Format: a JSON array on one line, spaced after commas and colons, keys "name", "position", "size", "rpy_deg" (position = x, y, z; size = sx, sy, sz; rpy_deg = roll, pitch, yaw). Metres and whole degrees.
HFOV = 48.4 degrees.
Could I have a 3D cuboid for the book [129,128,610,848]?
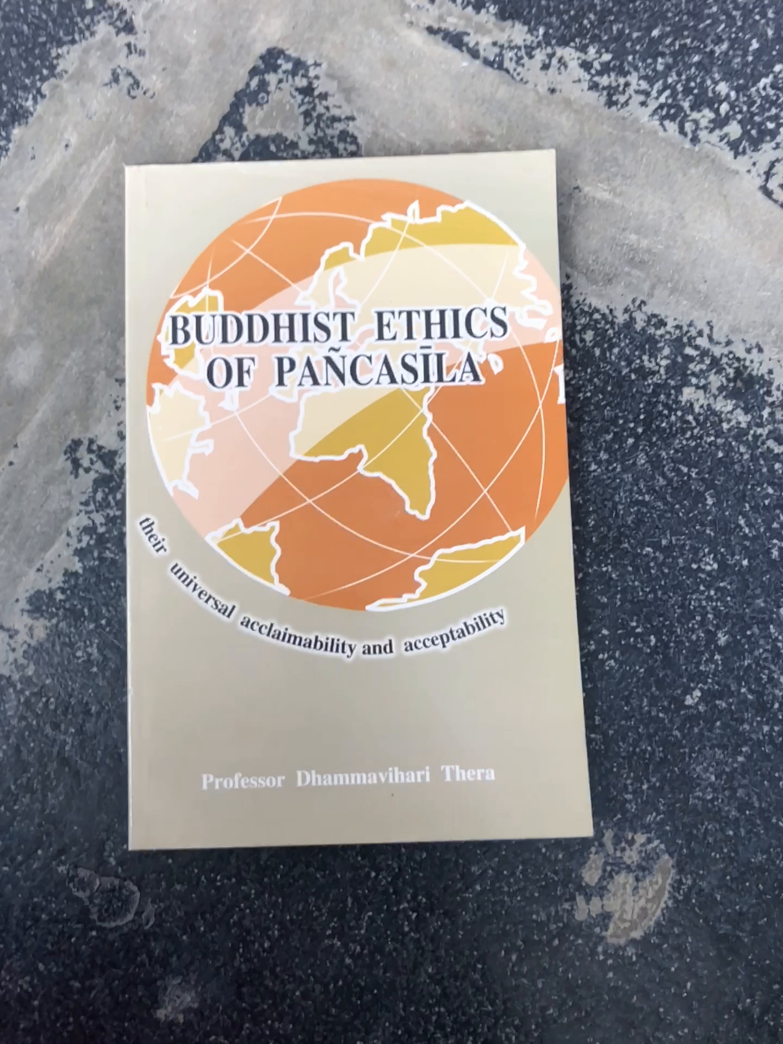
[{"name": "book", "position": [-0.009, -0.016, 0.271], "size": [0.140, 0.010, 0.220], "rpy_deg": [-1, 83, -2]}]
